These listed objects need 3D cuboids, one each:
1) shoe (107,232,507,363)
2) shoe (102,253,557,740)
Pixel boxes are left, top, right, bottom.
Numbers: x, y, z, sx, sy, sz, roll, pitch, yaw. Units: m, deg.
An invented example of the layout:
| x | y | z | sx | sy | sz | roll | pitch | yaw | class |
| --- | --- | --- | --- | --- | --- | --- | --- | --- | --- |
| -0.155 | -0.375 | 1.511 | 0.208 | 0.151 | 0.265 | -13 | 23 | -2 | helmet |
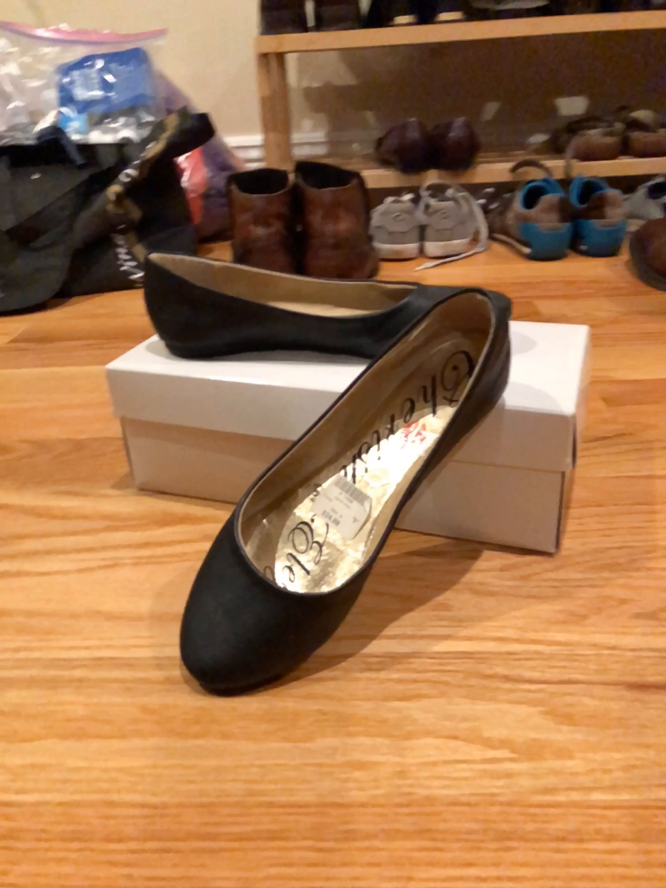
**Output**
| x | y | z | sx | sy | sz | roll | pitch | yaw | class |
| --- | --- | --- | --- | --- | --- | --- | --- | --- | --- |
| -0.013 | -0.096 | 0.471 | 0.239 | 0.060 | 0.076 | 2 | 28 | 11 | shoe |
| 0.004 | 0.024 | 0.367 | 0.076 | 0.060 | 0.240 | 37 | 83 | 32 | shoe |
